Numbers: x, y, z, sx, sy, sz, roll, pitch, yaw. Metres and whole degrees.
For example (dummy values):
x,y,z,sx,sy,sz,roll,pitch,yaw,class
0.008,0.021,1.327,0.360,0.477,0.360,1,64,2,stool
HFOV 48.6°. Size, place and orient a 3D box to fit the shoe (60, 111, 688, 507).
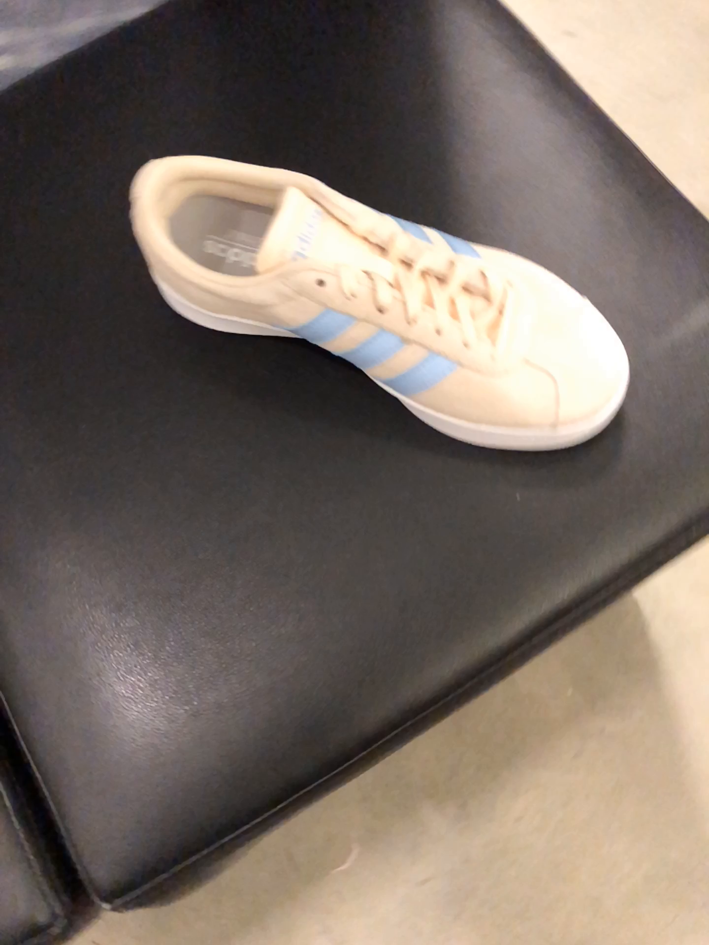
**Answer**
x,y,z,sx,sy,sz,roll,pitch,yaw,class
0.009,-0.079,0.391,0.260,0.090,0.100,17,74,10,shoe
